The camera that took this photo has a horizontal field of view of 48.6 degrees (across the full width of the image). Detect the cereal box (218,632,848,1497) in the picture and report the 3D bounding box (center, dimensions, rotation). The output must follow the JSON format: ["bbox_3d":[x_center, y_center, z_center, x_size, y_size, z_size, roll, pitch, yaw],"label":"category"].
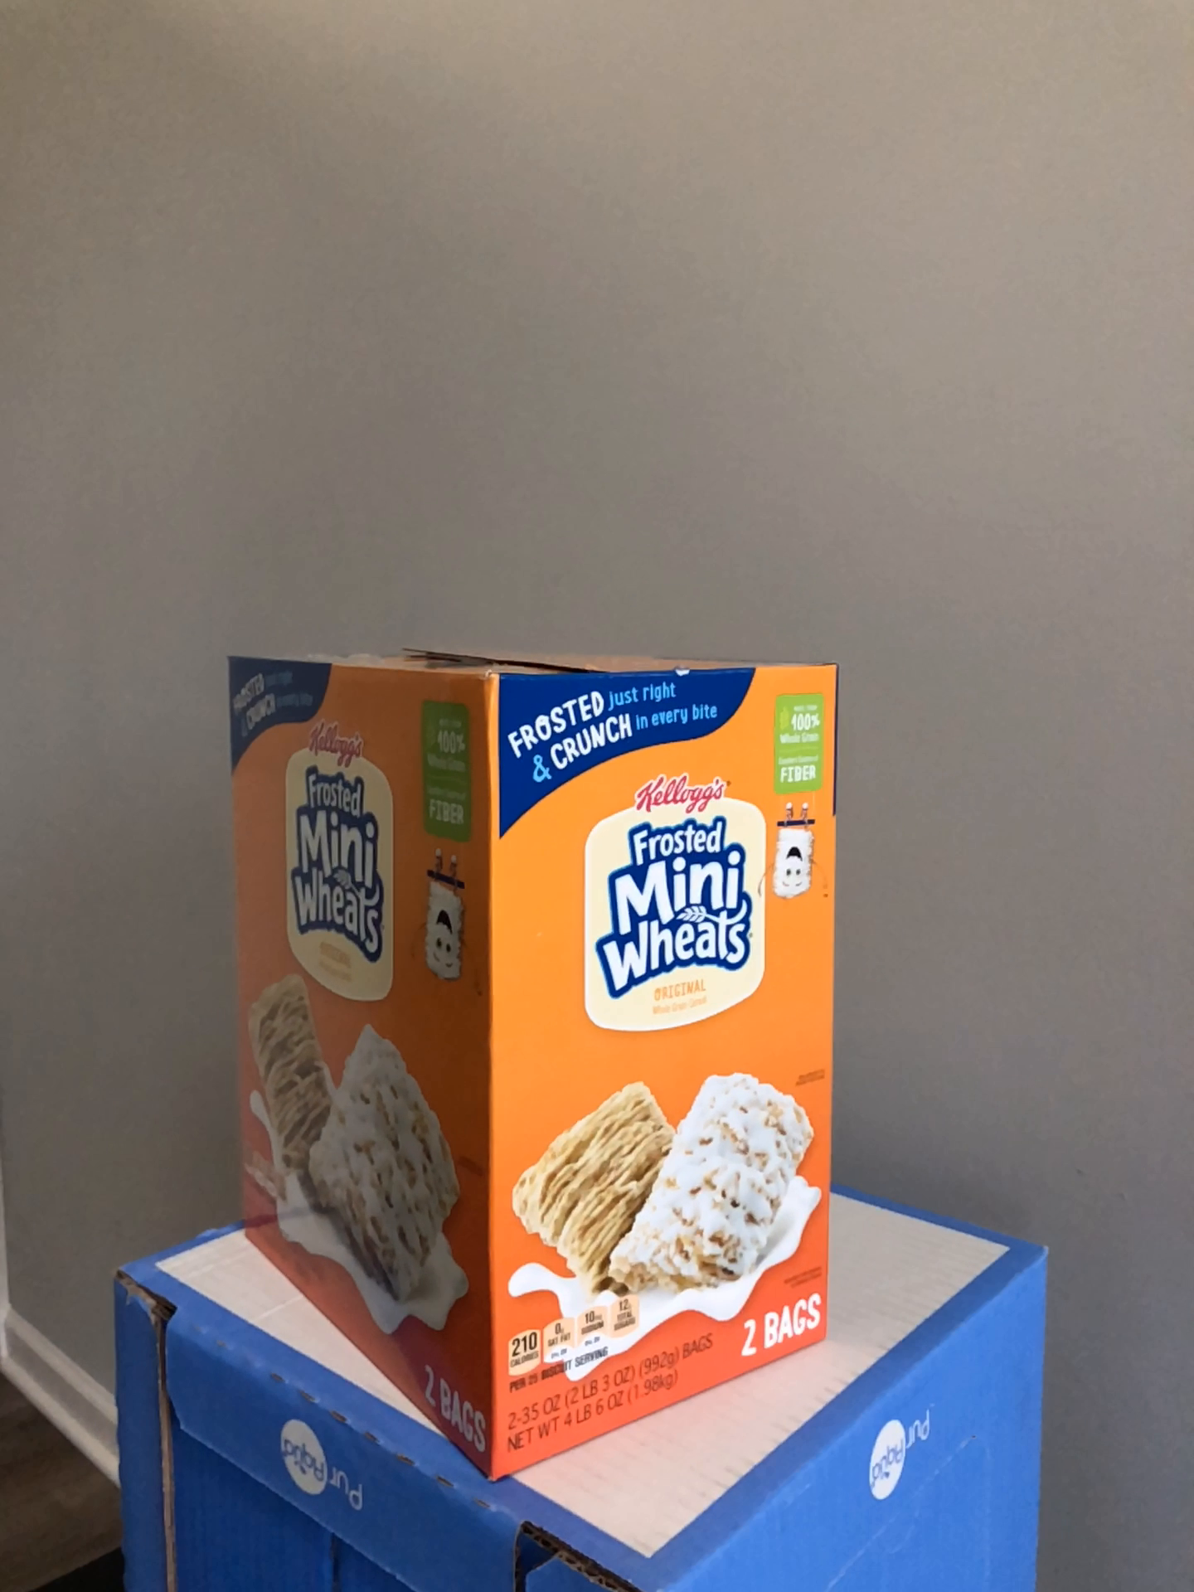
[{"bbox_3d":[-0.040,0.075,0.578,0.160,0.290,0.250,-5,8,-34],"label":"cereal box"}]
